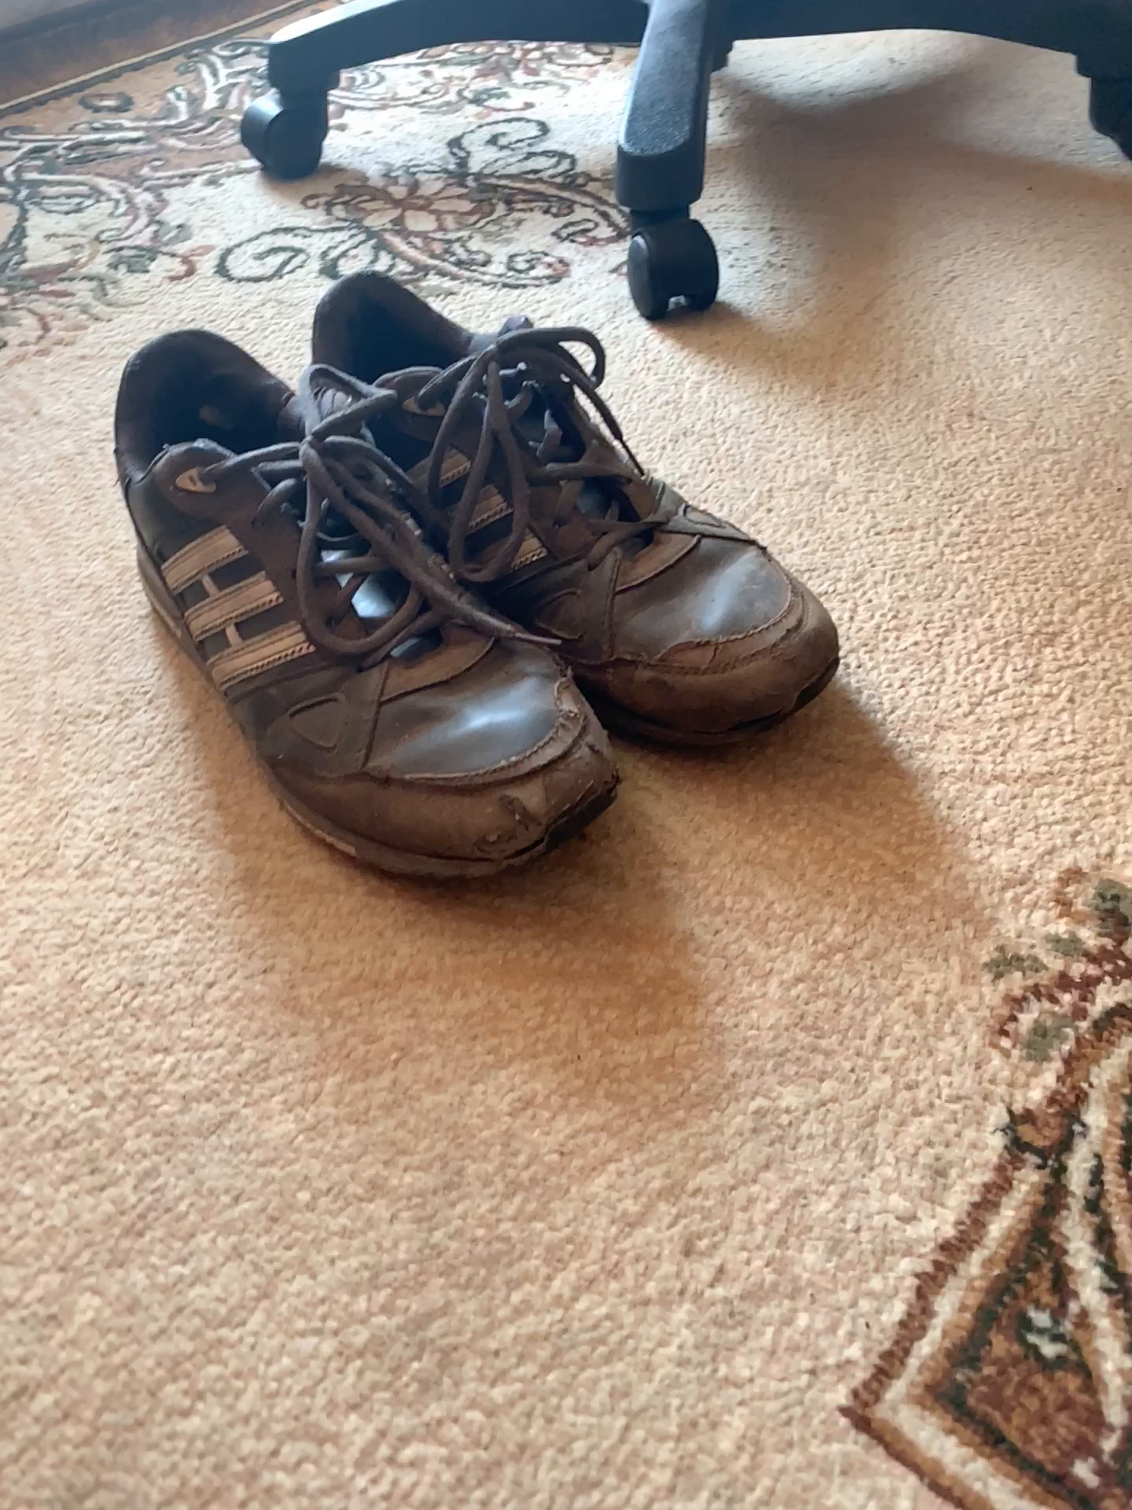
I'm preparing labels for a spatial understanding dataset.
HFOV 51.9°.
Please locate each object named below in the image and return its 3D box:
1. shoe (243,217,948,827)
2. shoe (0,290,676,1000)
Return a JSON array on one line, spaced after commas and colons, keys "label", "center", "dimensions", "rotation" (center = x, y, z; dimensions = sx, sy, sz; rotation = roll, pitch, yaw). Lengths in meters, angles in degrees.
[{"label": "shoe", "center": [-0.005, -0.122, 0.509], "dimensions": [0.120, 0.099, 0.312], "rotation": [-32, 52, -22]}, {"label": "shoe", "center": [-0.104, -0.067, 0.463], "dimensions": [0.116, 0.099, 0.314], "rotation": [-32, 52, -22]}]
